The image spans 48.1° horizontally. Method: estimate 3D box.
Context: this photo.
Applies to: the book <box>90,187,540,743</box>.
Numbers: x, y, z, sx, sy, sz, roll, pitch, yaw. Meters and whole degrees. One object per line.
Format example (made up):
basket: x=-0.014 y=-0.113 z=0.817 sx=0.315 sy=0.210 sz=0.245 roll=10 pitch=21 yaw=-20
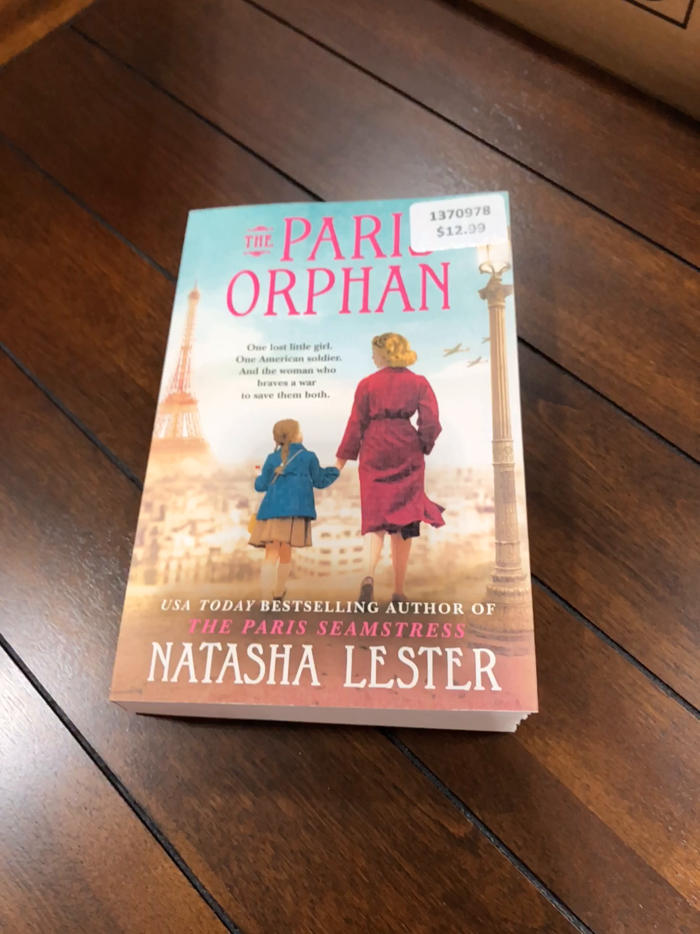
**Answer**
book: x=-0.005 y=-0.009 z=0.285 sx=0.134 sy=0.035 sz=0.198 roll=0 pitch=66 yaw=8
